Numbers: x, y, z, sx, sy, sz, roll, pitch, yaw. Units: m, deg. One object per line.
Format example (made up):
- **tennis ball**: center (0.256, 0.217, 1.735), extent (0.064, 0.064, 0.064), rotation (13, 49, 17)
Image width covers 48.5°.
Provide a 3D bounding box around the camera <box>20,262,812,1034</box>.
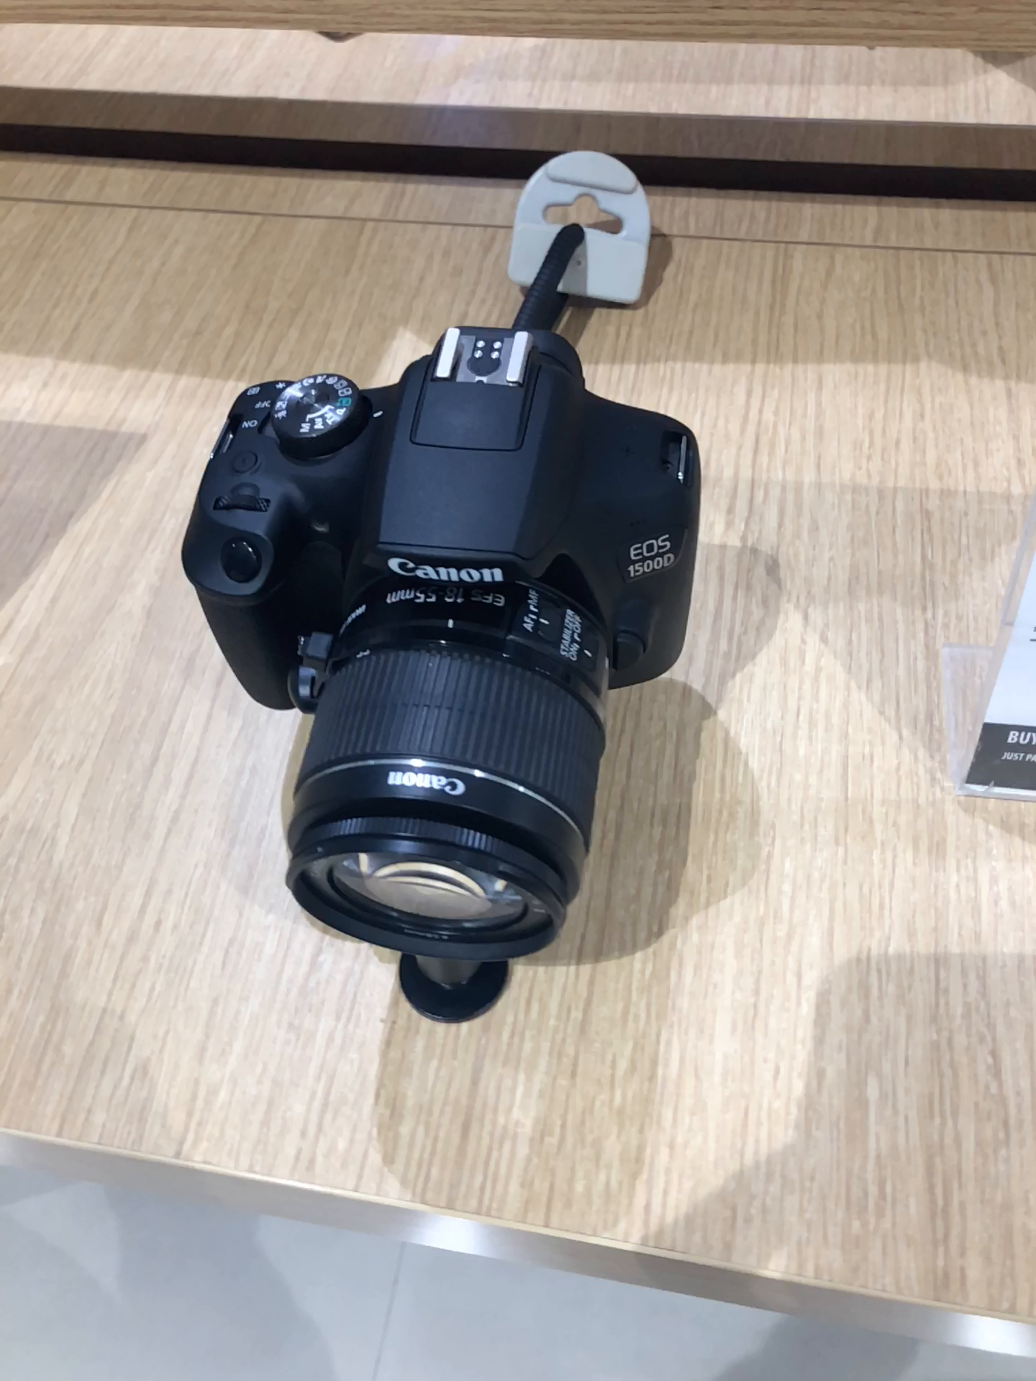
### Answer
- **camera**: center (-0.007, -0.014, 0.267), extent (0.130, 0.090, 0.141), rotation (7, 56, 9)
